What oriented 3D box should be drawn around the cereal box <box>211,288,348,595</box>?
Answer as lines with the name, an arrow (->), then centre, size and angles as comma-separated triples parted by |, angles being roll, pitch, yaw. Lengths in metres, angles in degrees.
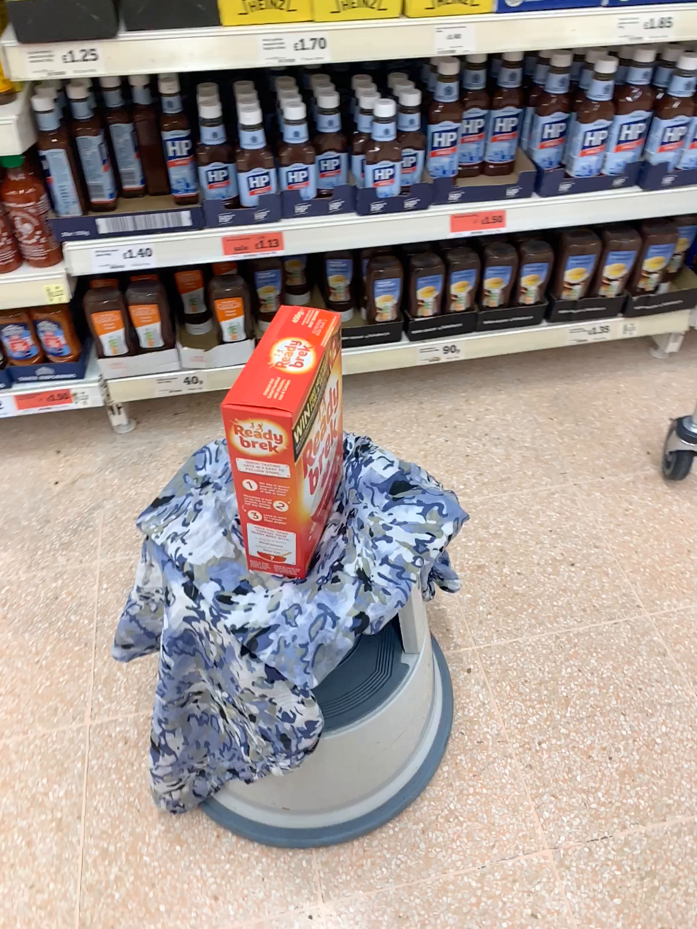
cereal box -> -0.054, -0.018, 0.688 | 0.060, 0.238, 0.172 | 10, 46, 11
